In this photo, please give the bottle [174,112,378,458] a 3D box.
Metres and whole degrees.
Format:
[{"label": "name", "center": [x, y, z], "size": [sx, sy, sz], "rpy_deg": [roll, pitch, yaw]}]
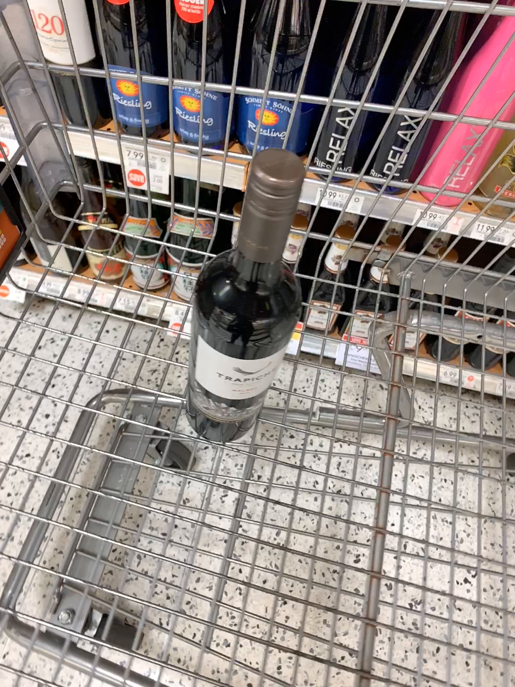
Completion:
[{"label": "bottle", "center": [-0.013, -0.012, 0.395], "size": [0.090, 0.298, 0.091], "rpy_deg": [4, 59, -7]}]
